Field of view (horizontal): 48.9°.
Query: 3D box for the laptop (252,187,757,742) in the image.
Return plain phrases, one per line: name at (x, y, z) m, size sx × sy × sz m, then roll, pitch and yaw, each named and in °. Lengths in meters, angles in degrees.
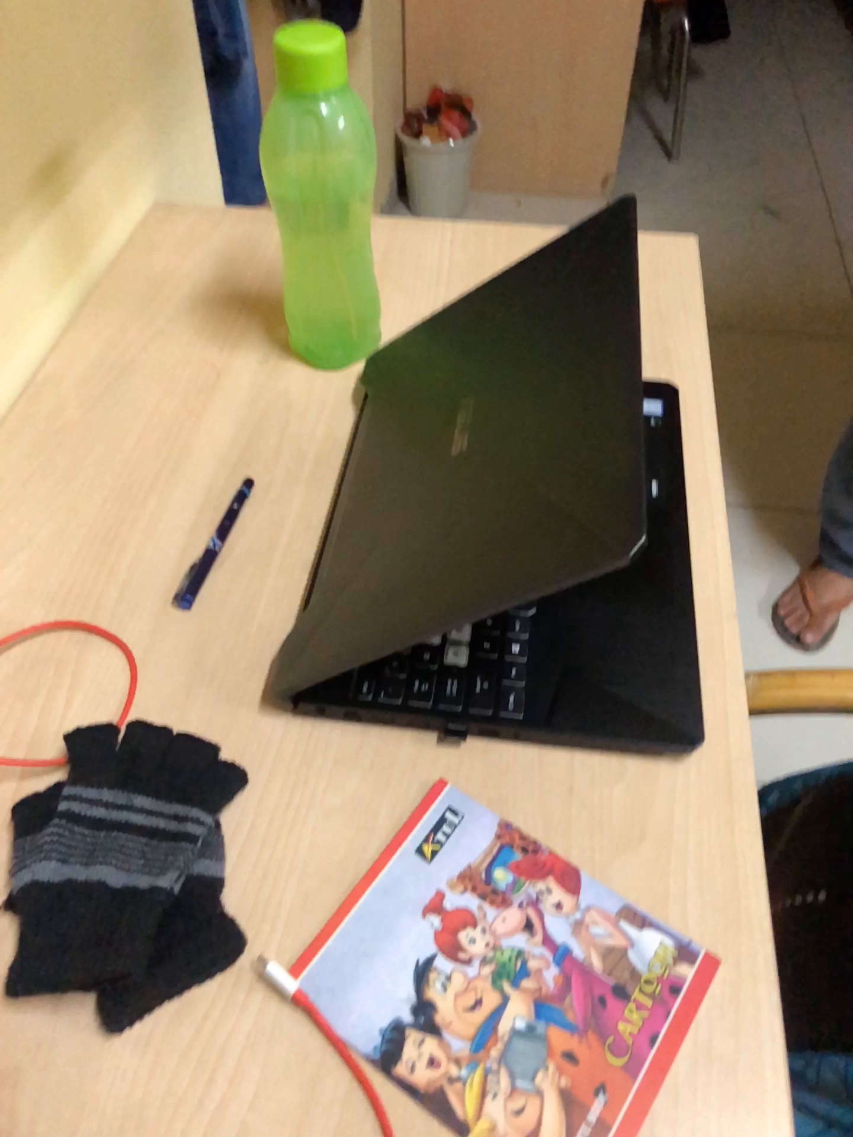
laptop at (0.059, -0.087, 0.623) m, size 0.247 × 0.147 × 0.340 m, roll 7°, pitch 49°, yaw 3°
